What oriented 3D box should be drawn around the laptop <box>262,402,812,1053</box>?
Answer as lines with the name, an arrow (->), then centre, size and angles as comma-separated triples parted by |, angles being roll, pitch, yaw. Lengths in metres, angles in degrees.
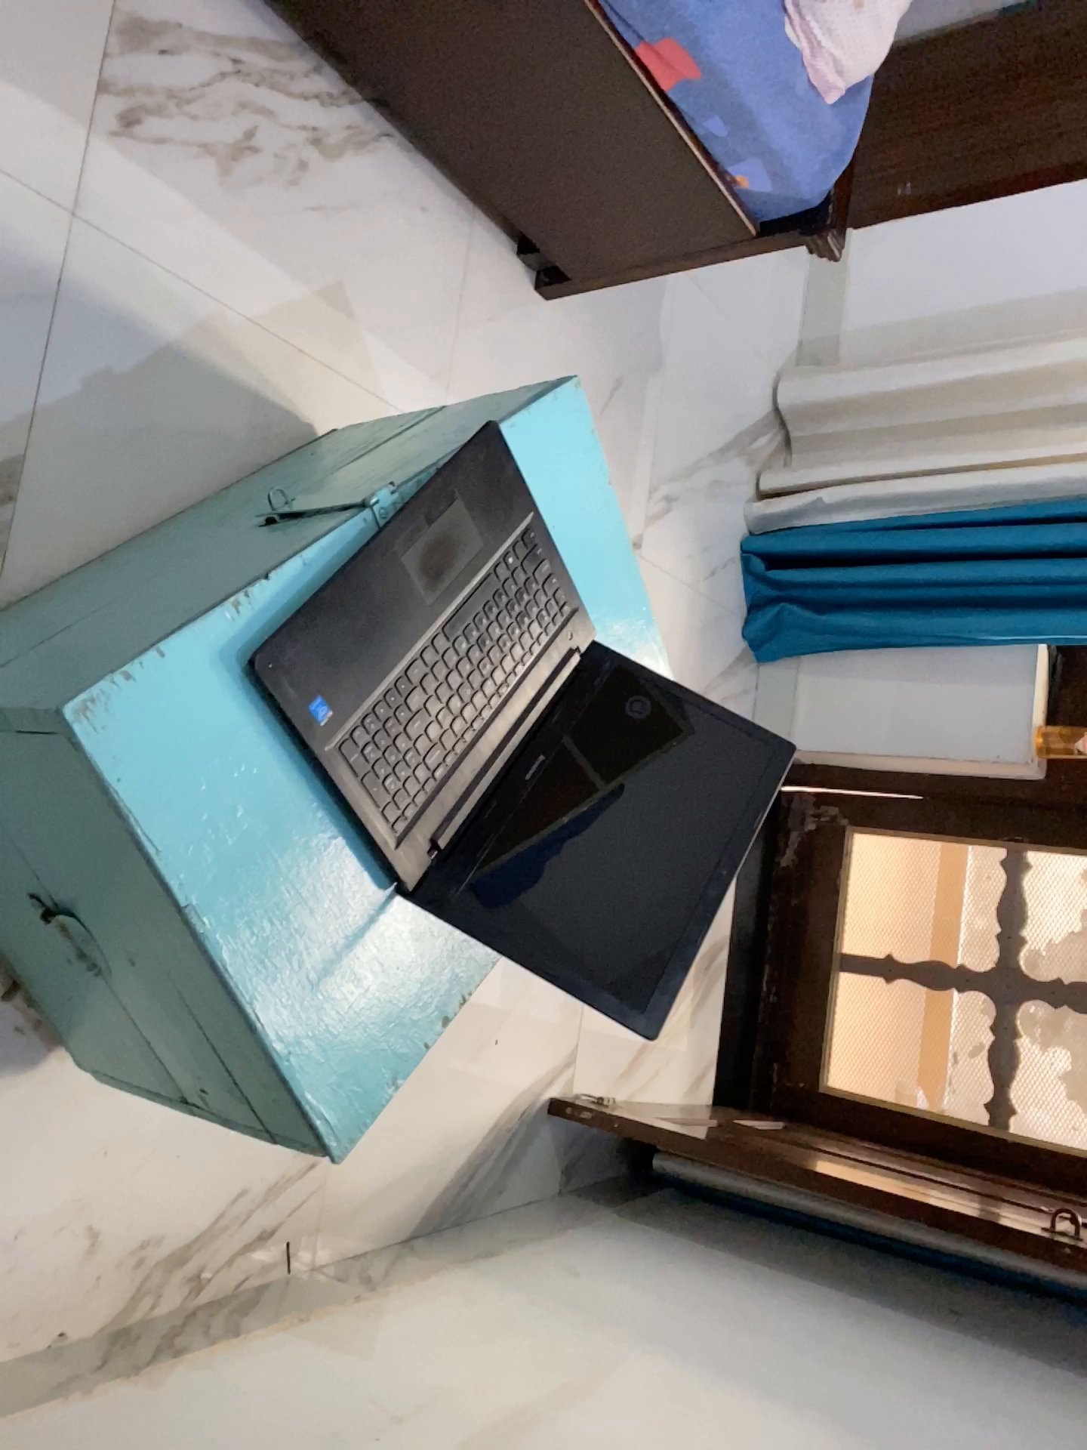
laptop -> 0.035, -0.003, 1.009 | 0.372, 0.190, 0.424 | -55, 130, -37
